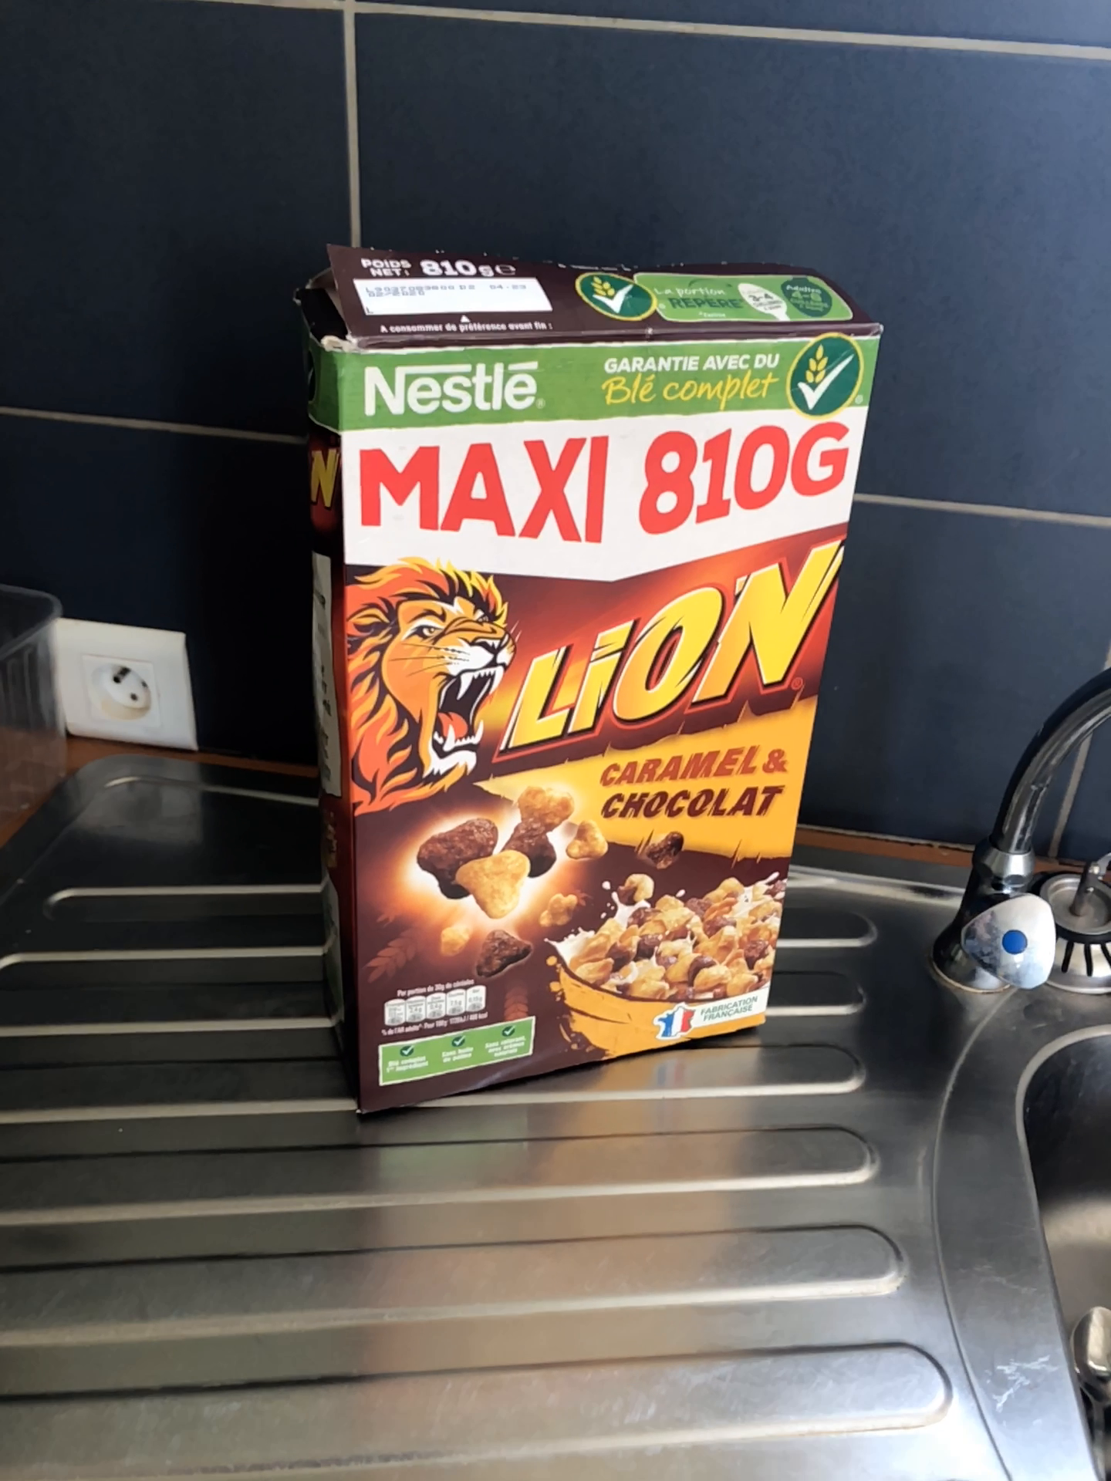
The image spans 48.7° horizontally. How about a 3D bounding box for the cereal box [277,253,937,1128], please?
[{"bbox_3d":[0.007,-0.013,0.478,0.200,0.318,0.080,-7,31,-18],"label":"cereal box"}]
